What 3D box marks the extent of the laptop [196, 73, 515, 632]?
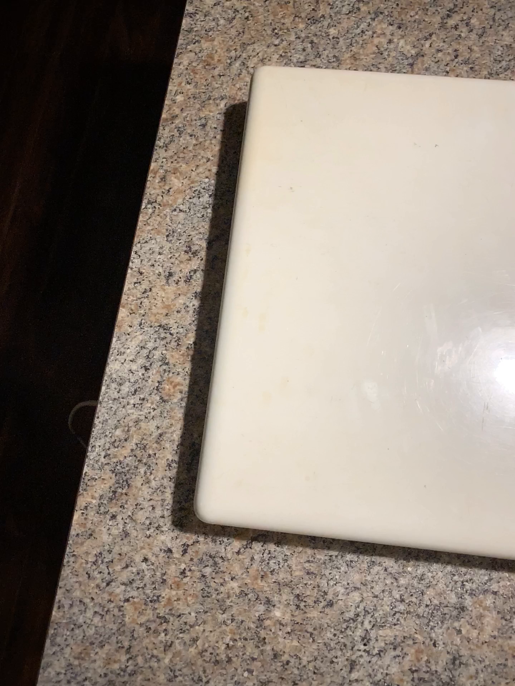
[{"bbox_3d":[0.138,-0.021,0.216,0.305,0.002,0.205,5,74,7],"label":"laptop"}]
